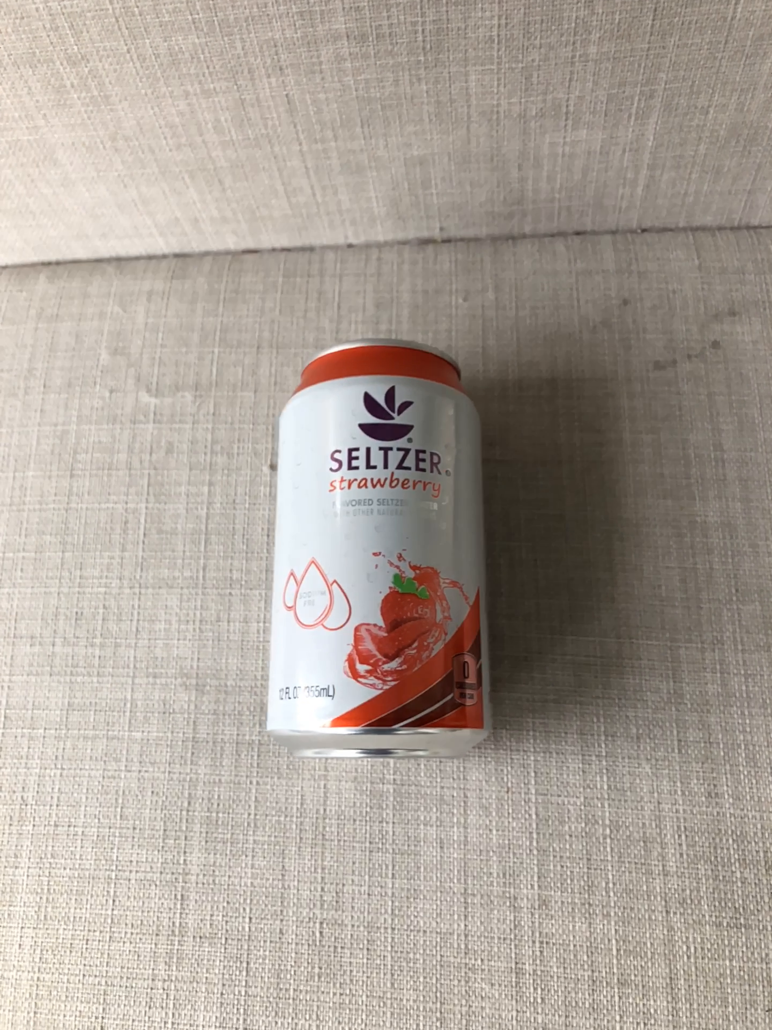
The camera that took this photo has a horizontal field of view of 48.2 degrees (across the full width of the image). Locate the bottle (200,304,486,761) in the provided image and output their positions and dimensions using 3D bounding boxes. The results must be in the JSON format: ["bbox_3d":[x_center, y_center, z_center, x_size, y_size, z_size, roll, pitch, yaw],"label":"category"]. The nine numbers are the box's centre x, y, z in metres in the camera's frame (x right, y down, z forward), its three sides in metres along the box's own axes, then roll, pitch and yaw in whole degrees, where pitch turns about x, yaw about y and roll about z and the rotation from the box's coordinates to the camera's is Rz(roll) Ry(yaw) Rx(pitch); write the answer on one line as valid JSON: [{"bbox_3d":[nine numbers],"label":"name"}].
[{"bbox_3d":[-0.007,0.009,0.258,0.070,0.070,0.120,-1,76,5],"label":"bottle"}]
